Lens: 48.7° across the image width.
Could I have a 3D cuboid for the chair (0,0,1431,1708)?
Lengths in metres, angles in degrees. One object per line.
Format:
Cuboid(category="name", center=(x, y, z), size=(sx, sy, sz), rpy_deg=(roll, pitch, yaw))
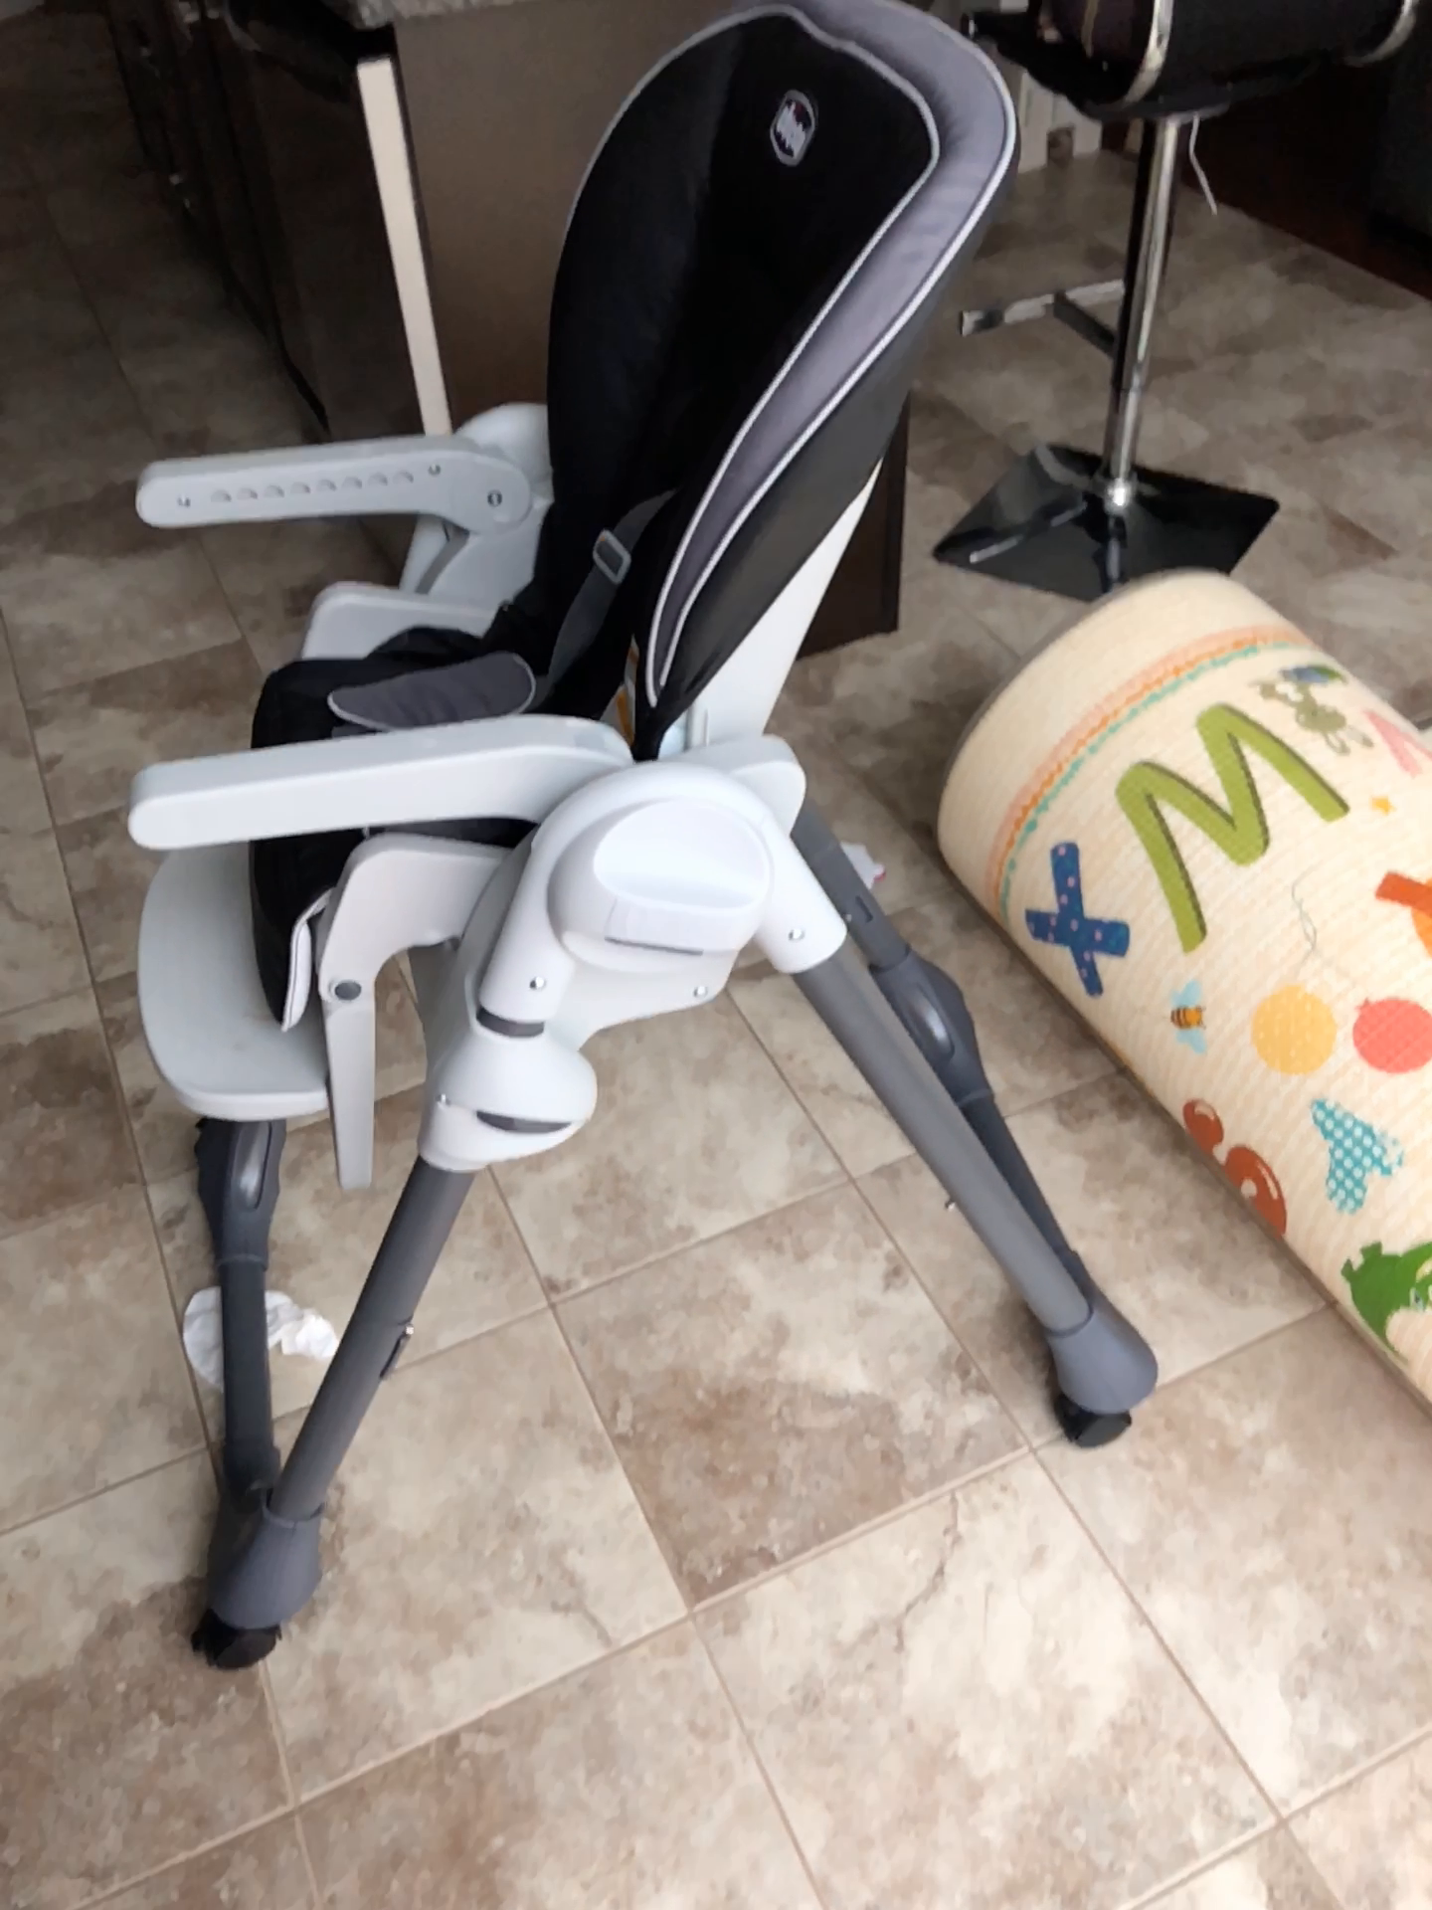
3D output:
Cuboid(category="chair", center=(-0.111, -0.076, 1.184), size=(0.880, 0.996, 0.653), rpy_deg=(-12, 44, -8))
